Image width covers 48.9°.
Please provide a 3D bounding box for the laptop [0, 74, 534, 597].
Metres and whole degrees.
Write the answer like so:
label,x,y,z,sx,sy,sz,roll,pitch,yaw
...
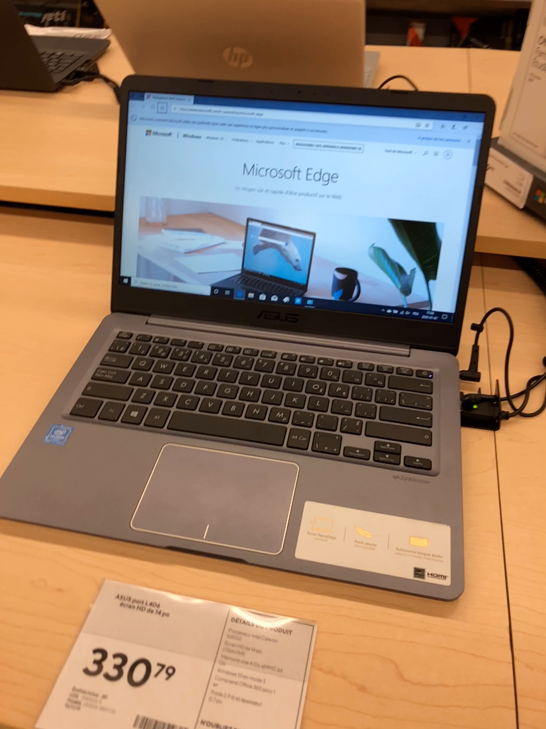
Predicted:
label,x,y,z,sx,sy,sz,roll,pitch,yaw
laptop,-0.009,-0.055,0.445,0.309,0.172,0.328,8,46,9
